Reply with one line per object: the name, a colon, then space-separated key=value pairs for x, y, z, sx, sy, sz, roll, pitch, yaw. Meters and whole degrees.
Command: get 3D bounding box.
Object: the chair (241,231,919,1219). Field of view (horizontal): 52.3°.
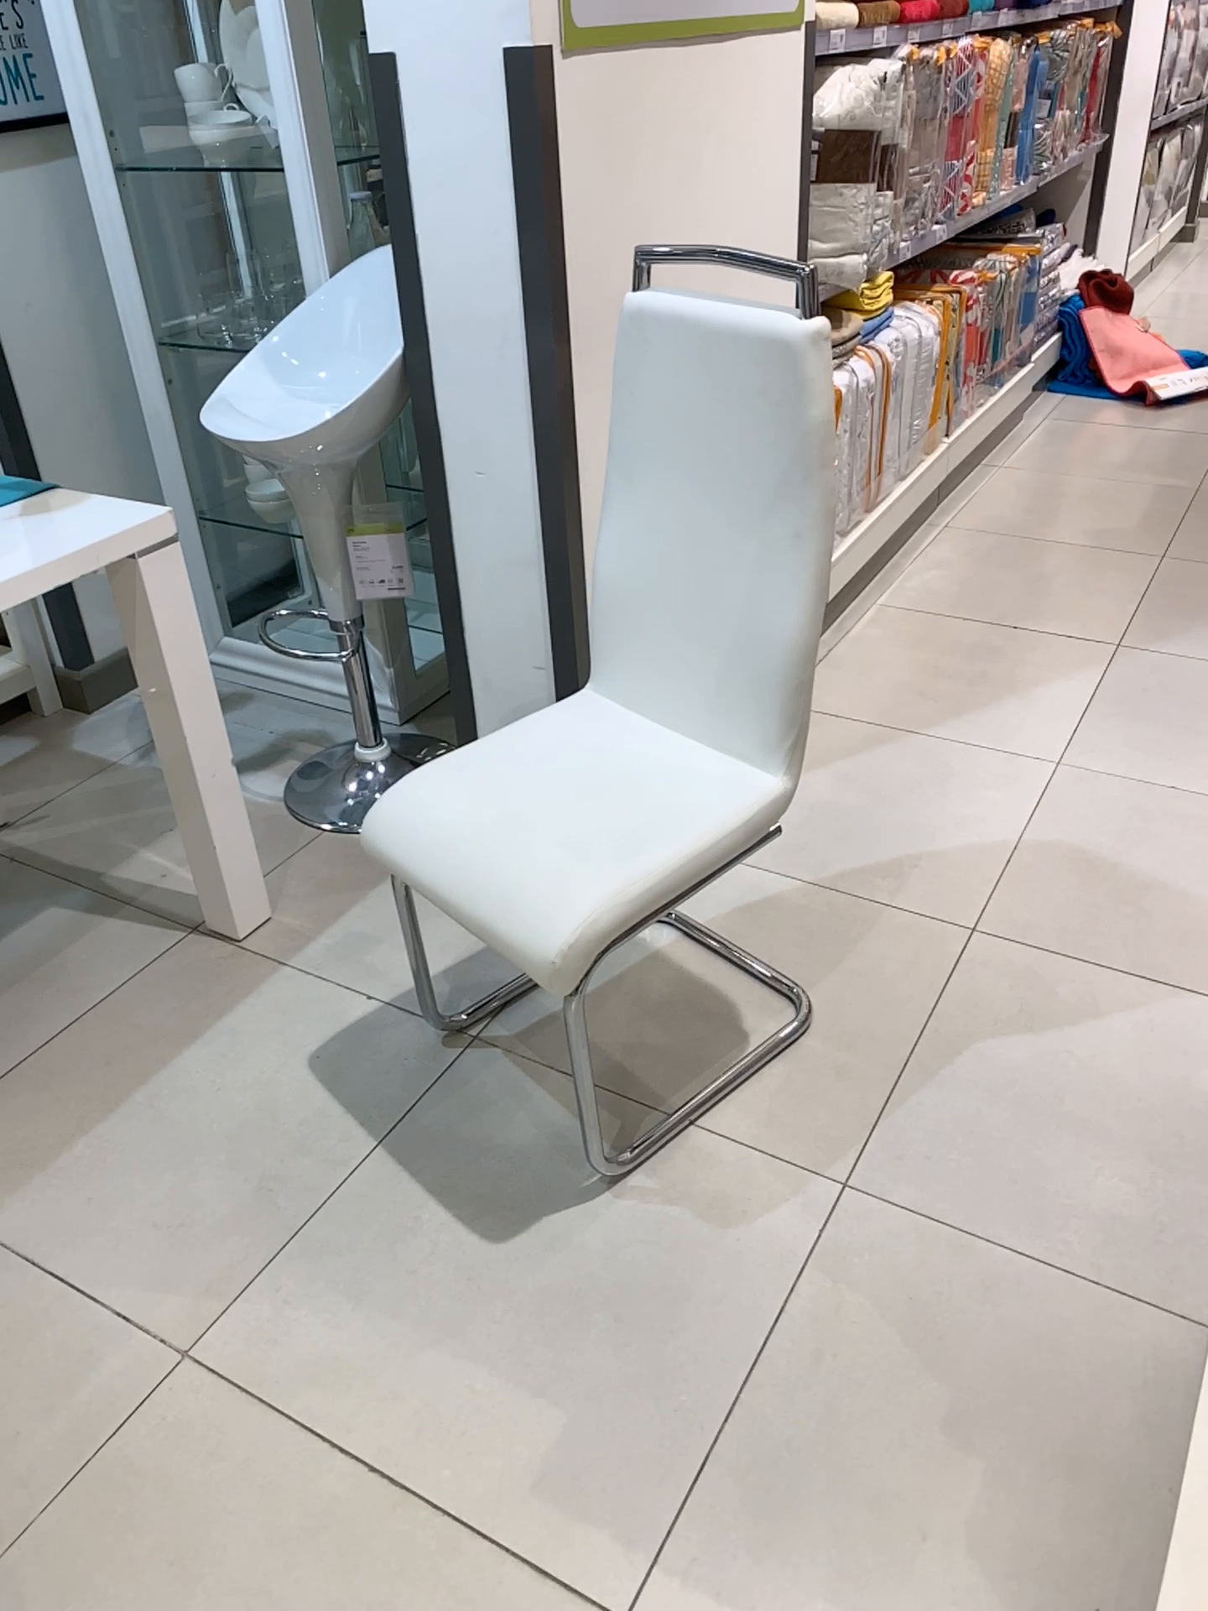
chair: x=-0.003 y=-0.112 z=1.552 sx=0.521 sy=1.026 sz=0.481 roll=-27 pitch=39 yaw=-33
